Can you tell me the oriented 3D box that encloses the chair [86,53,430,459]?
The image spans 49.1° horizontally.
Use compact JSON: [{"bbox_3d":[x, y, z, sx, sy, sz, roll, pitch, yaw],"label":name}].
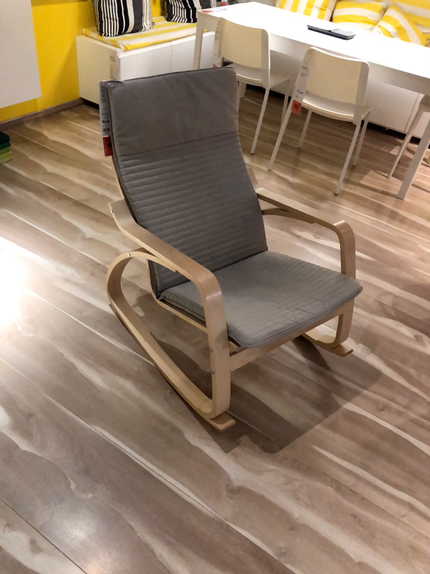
[{"bbox_3d":[0.108,-0.143,1.569,0.752,0.943,0.703,-23,49,-32],"label":"chair"}]
